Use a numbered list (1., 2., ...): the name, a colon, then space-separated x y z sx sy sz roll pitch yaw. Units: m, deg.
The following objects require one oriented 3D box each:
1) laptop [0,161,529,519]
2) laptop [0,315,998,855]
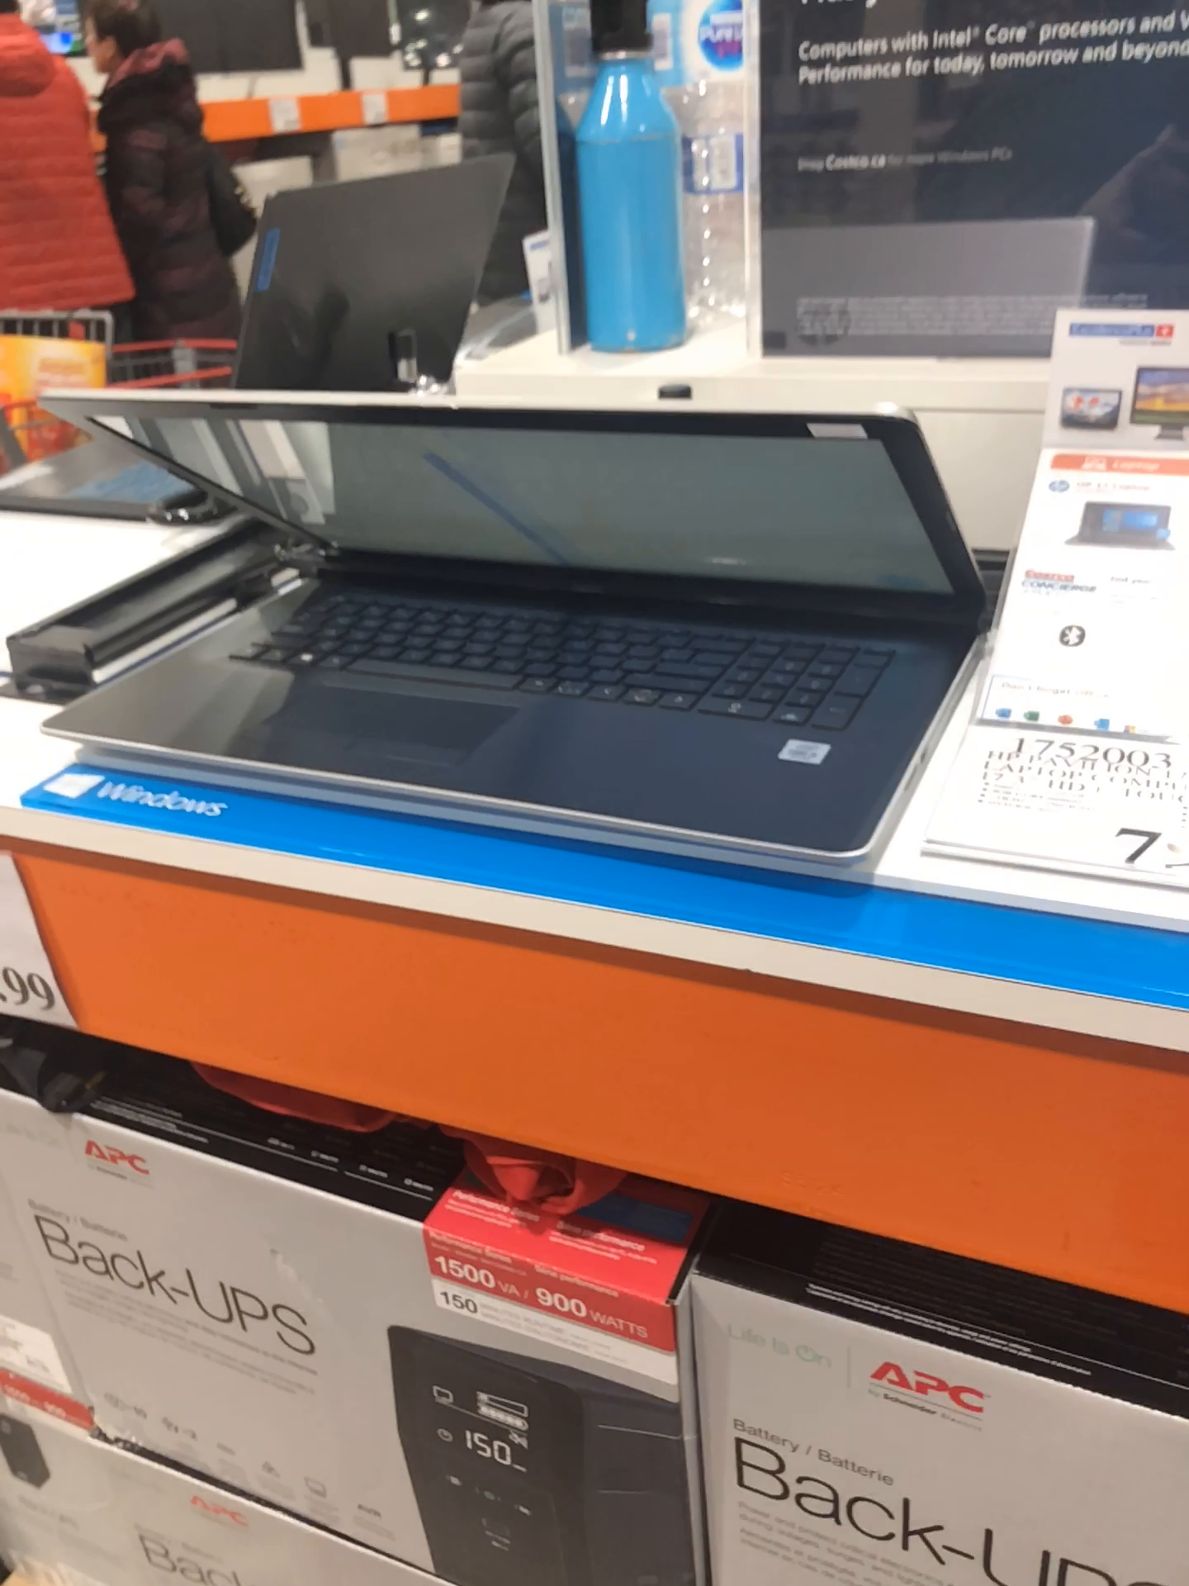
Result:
1. laptop: -0.286 -0.389 1.090 0.330 0.212 0.341 8 30 22
2. laptop: -0.043 -0.127 0.625 0.406 0.150 0.258 8 29 24
